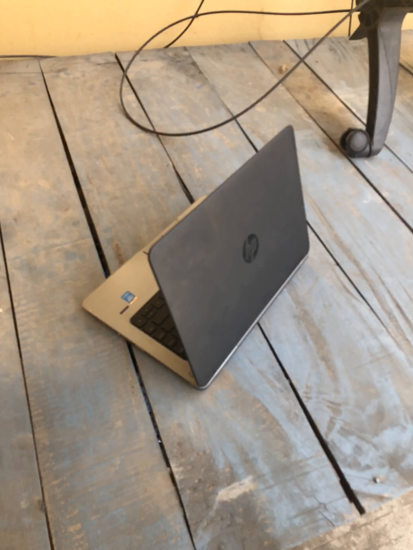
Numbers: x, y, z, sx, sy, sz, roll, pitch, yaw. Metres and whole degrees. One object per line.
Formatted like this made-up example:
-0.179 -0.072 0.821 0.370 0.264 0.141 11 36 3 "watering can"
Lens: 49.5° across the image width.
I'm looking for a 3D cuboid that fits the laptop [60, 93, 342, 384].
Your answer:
0.003 -0.067 0.635 0.210 0.196 0.317 31 54 18 "laptop"
